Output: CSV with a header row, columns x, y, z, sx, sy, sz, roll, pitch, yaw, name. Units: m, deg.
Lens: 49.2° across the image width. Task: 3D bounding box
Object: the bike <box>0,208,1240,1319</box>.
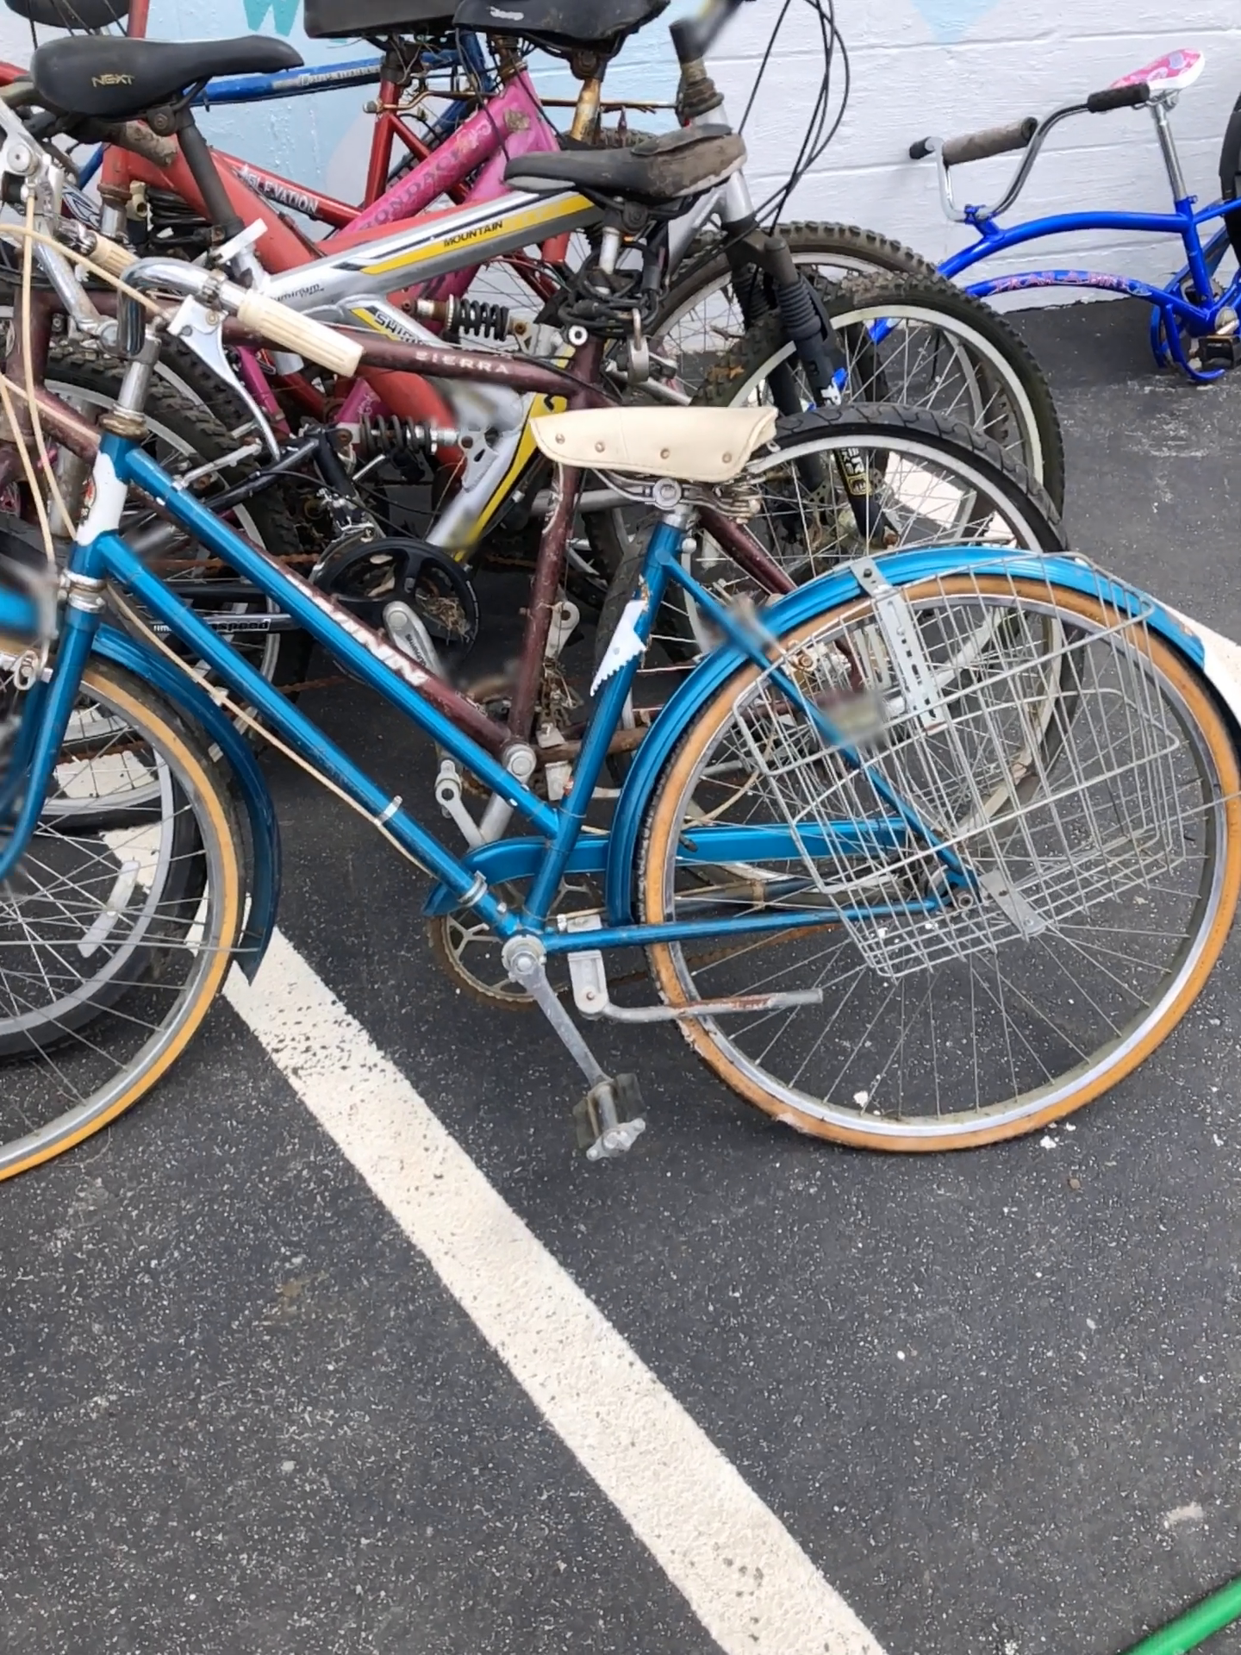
x,y,z,sx,sy,sz,roll,pitch,yaw,name
-0.165,-0.079,1.236,1.481,0.760,0.477,-5,40,-8,bike
